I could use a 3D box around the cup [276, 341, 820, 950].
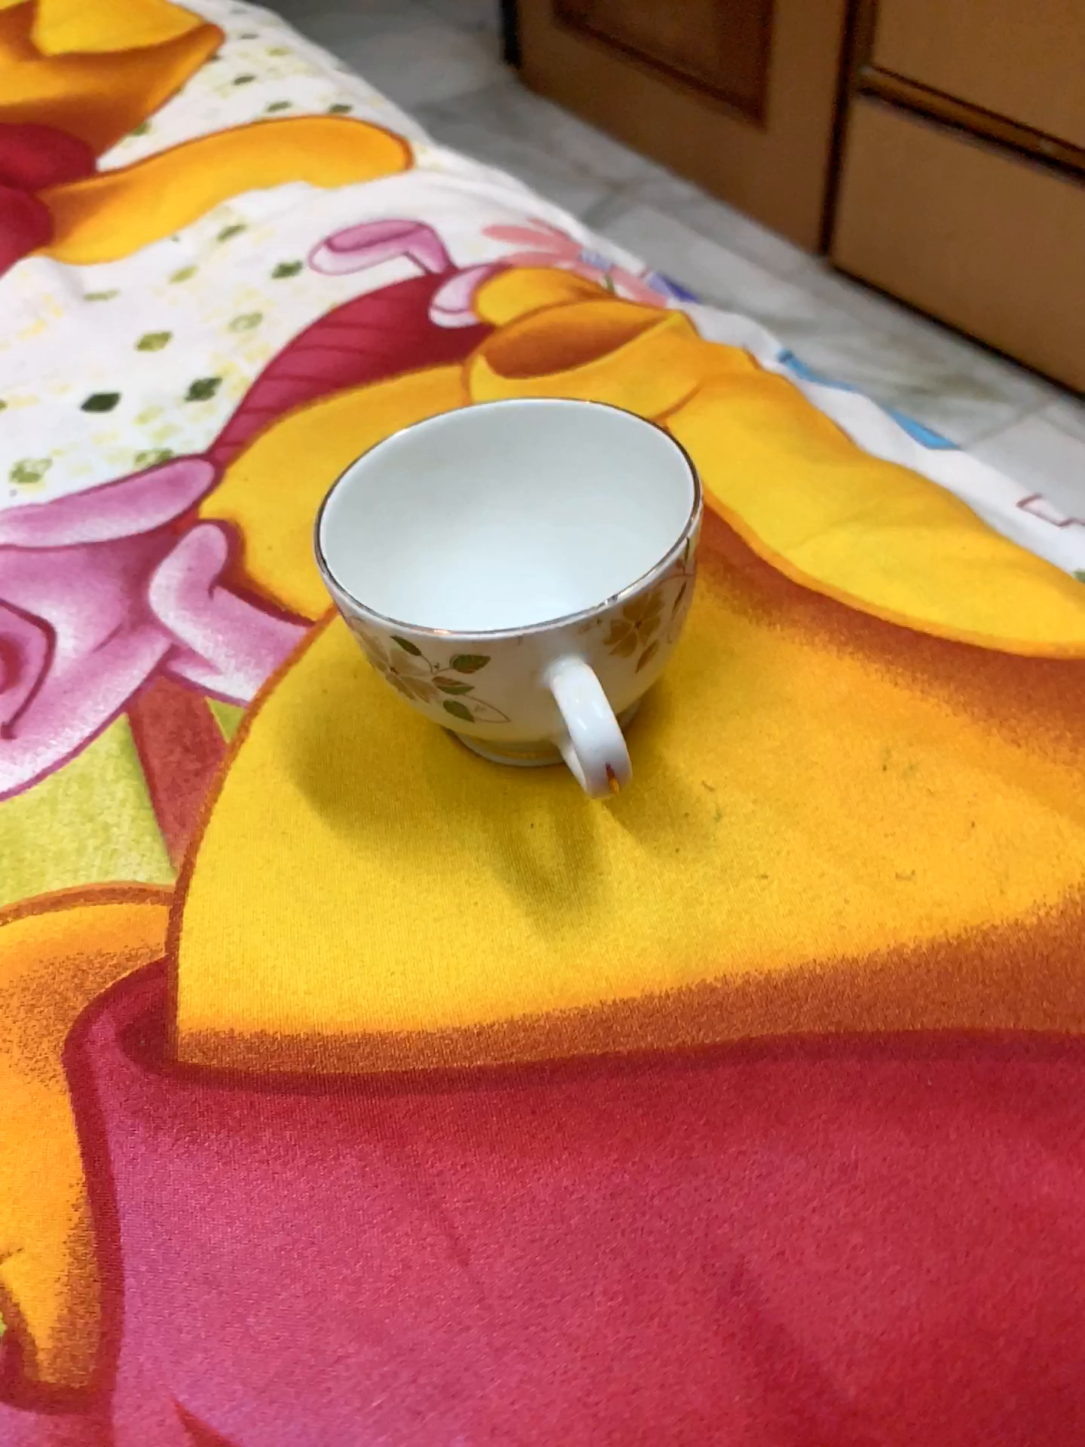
[{"bbox_3d":[-0.002,-0.021,0.243,0.080,0.060,0.101,-17,48,-7],"label":"cup"}]
